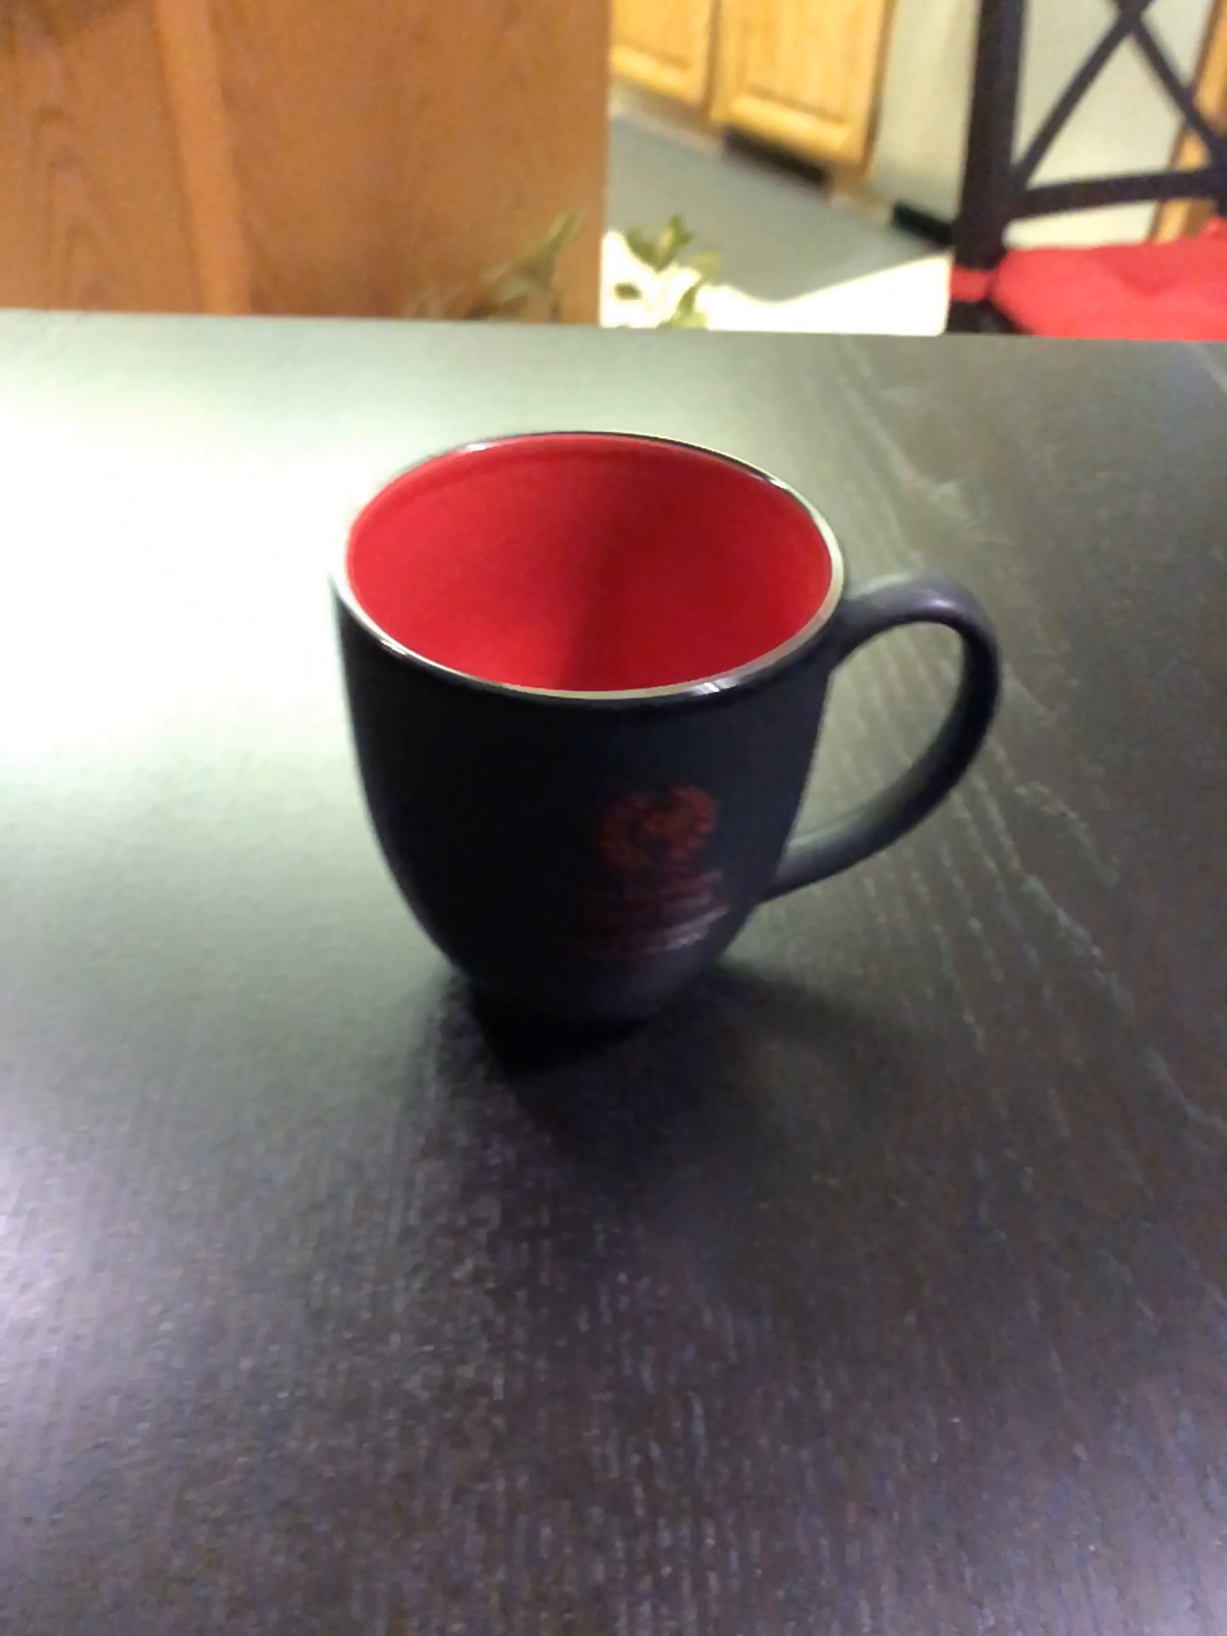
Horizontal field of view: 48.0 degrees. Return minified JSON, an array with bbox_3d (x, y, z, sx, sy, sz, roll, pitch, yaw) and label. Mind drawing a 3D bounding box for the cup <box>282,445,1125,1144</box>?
[{"bbox_3d":[0.010,-0.007,0.300,0.140,0.109,0.101,-2,42,-5],"label":"cup"}]
